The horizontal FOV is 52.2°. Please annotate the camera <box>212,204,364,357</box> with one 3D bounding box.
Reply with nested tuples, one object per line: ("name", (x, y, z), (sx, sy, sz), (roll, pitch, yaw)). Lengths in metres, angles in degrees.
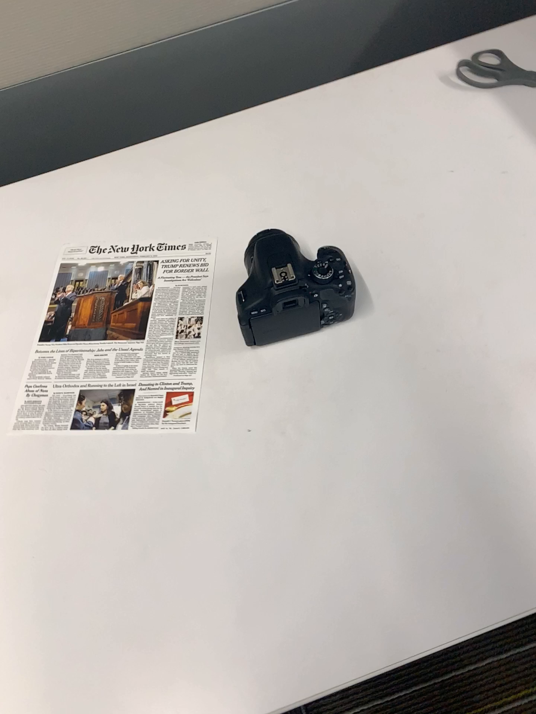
("camera", (0.022, -0.085, 0.616), (0.137, 0.090, 0.110), (-15, 59, -1))
